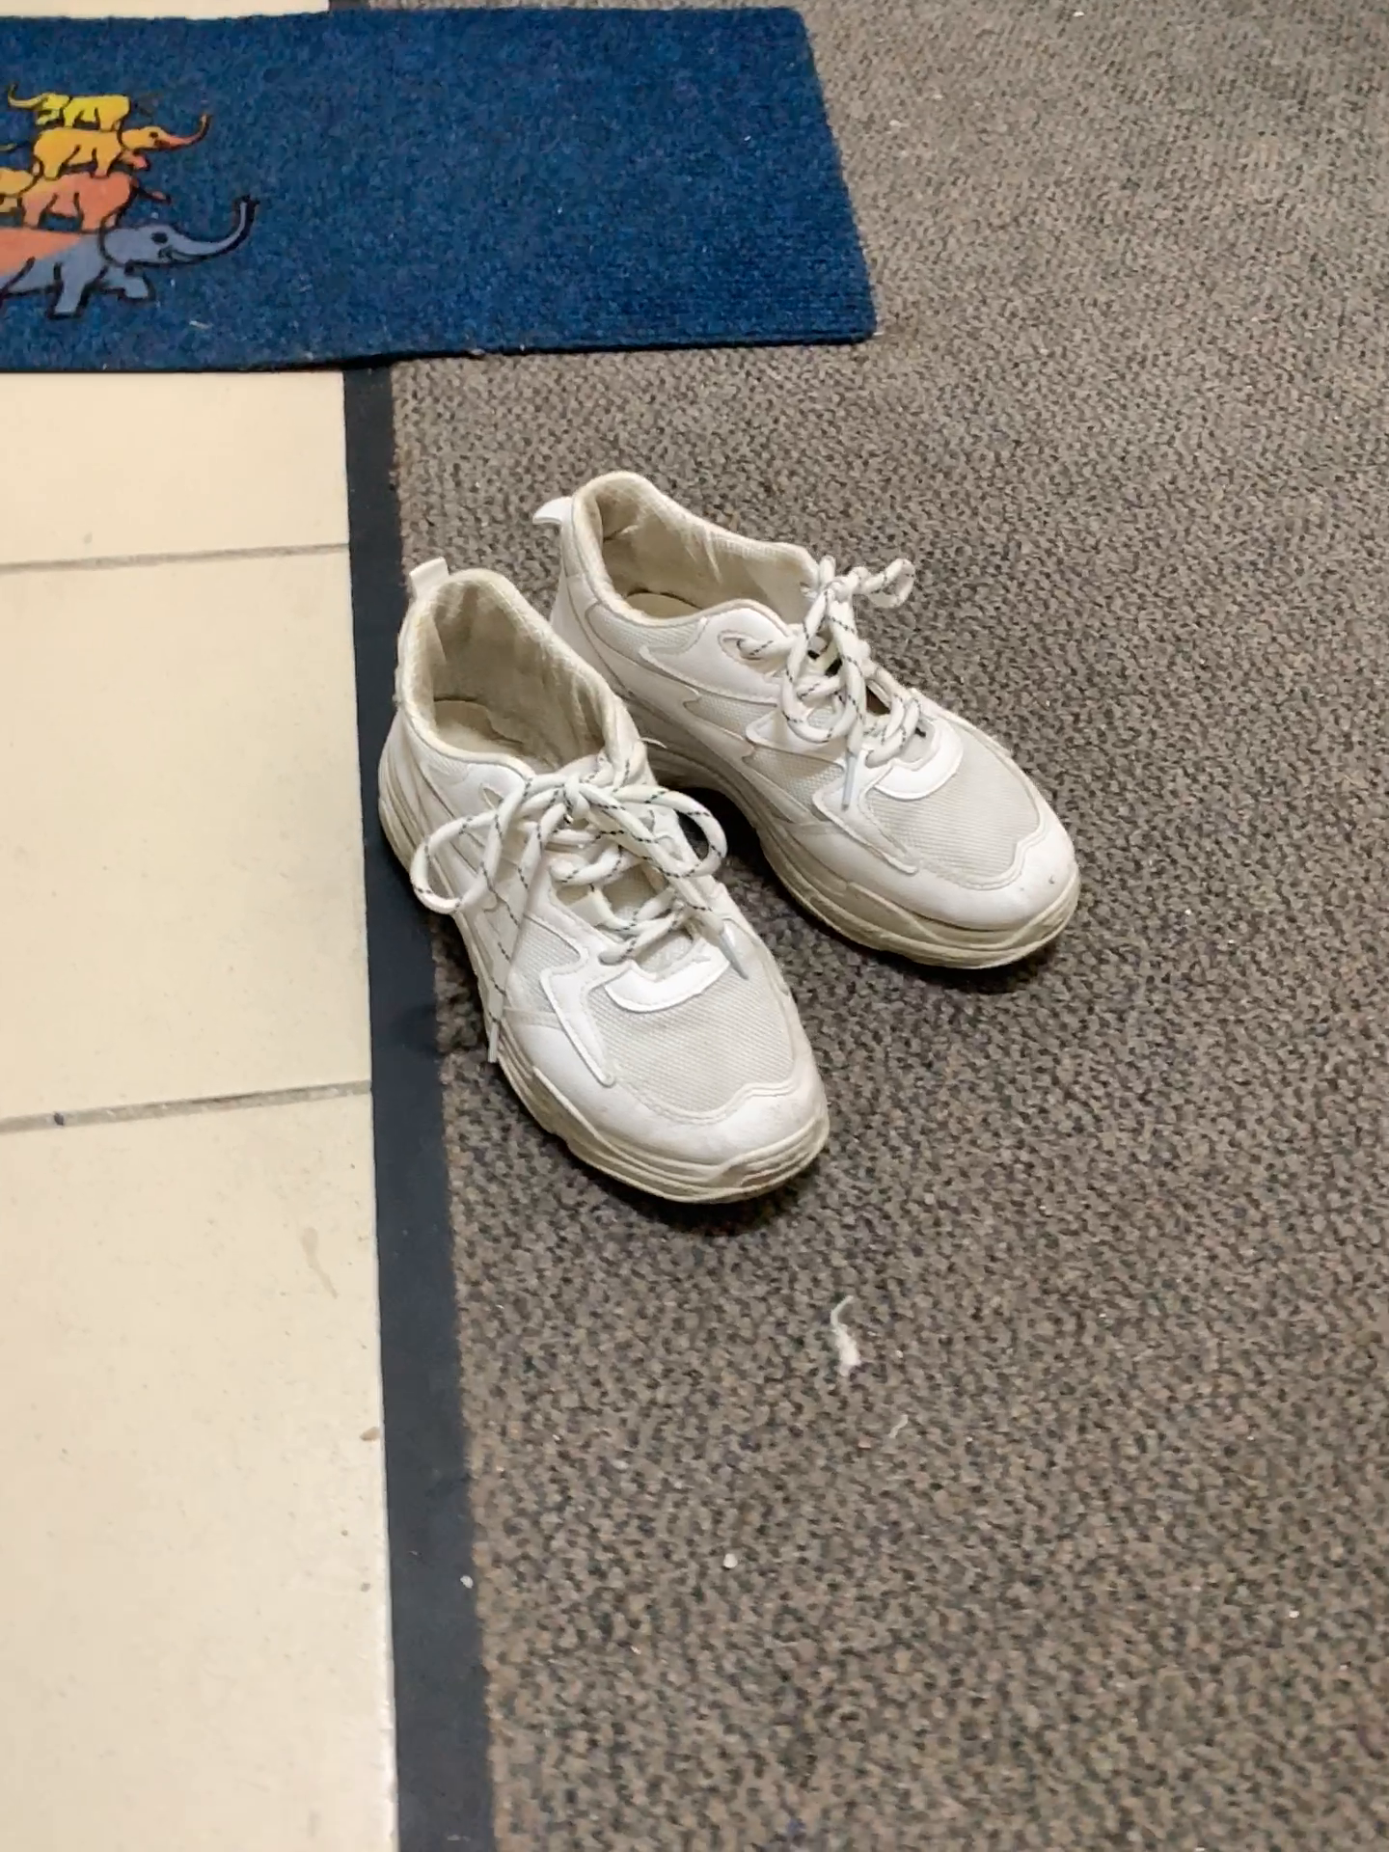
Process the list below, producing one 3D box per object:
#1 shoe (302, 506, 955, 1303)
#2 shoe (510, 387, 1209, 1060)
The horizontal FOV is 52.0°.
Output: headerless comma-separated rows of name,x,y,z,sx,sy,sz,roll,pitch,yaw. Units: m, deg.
shoe,-0.031,-0.011,0.506,0.100,0.140,0.231,-28,60,-18
shoe,0.052,-0.081,0.557,0.230,0.140,0.100,35,62,21
